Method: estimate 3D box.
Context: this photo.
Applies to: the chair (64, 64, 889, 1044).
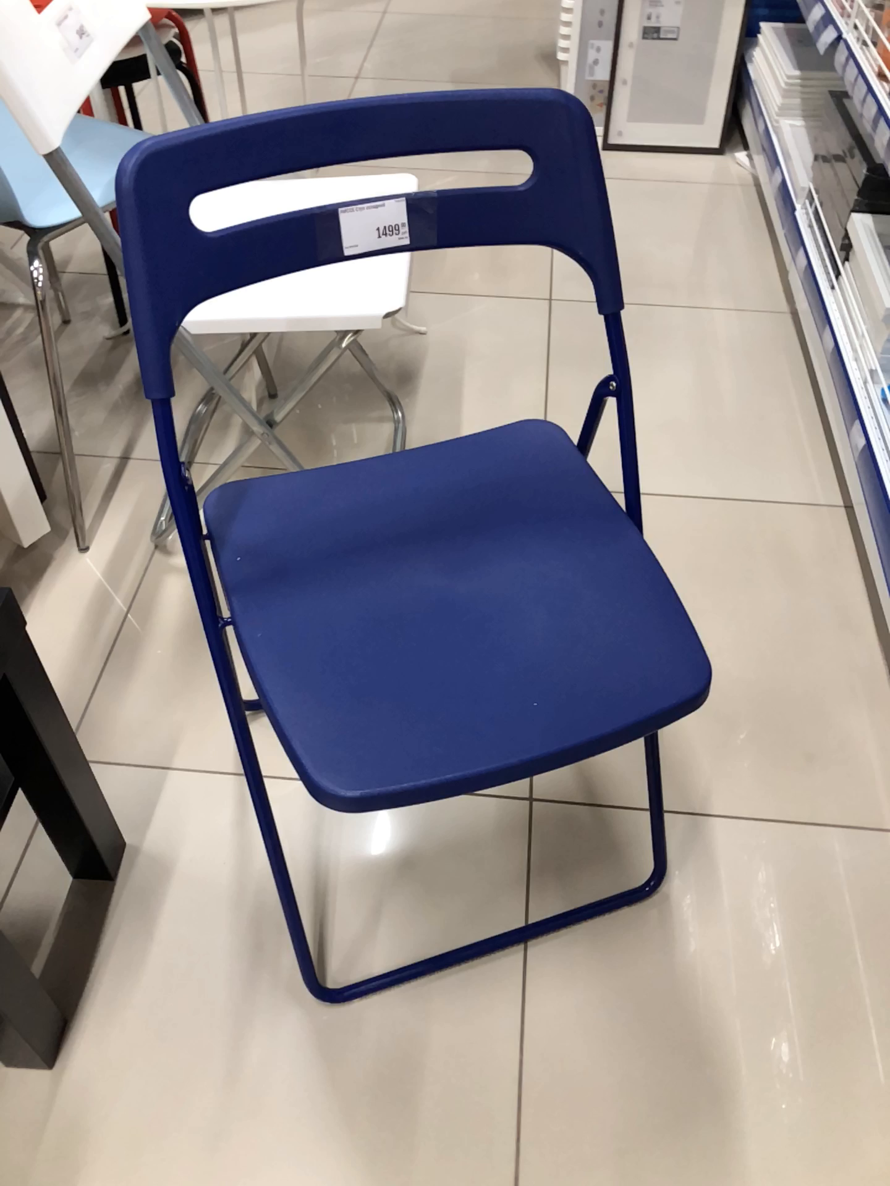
[{"bbox_3d":[-0.008,-0.010,0.905,0.451,0.705,0.467,-14,48,-13],"label":"chair"}]
